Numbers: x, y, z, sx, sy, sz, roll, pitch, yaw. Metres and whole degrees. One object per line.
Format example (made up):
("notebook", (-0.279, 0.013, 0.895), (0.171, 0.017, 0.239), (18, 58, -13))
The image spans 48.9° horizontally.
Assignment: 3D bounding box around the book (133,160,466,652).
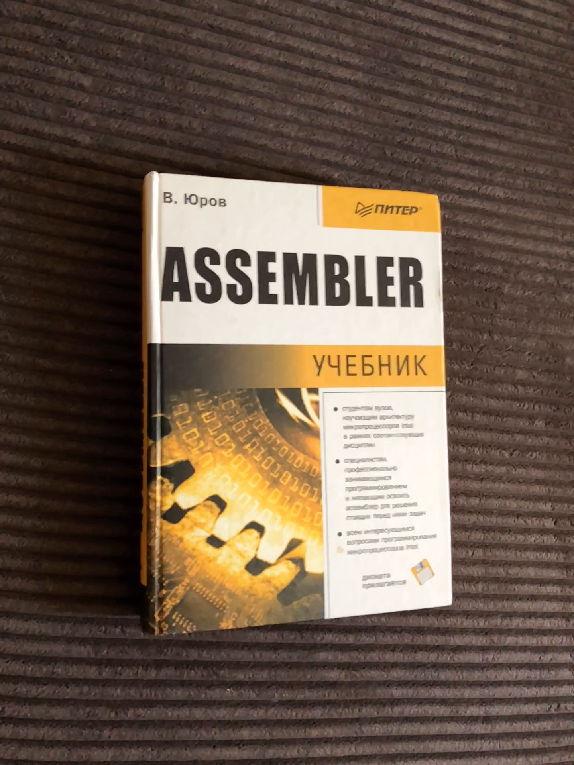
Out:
("book", (0.003, 0.009, 0.355), (0.170, 0.058, 0.236), (0, 85, -16))
